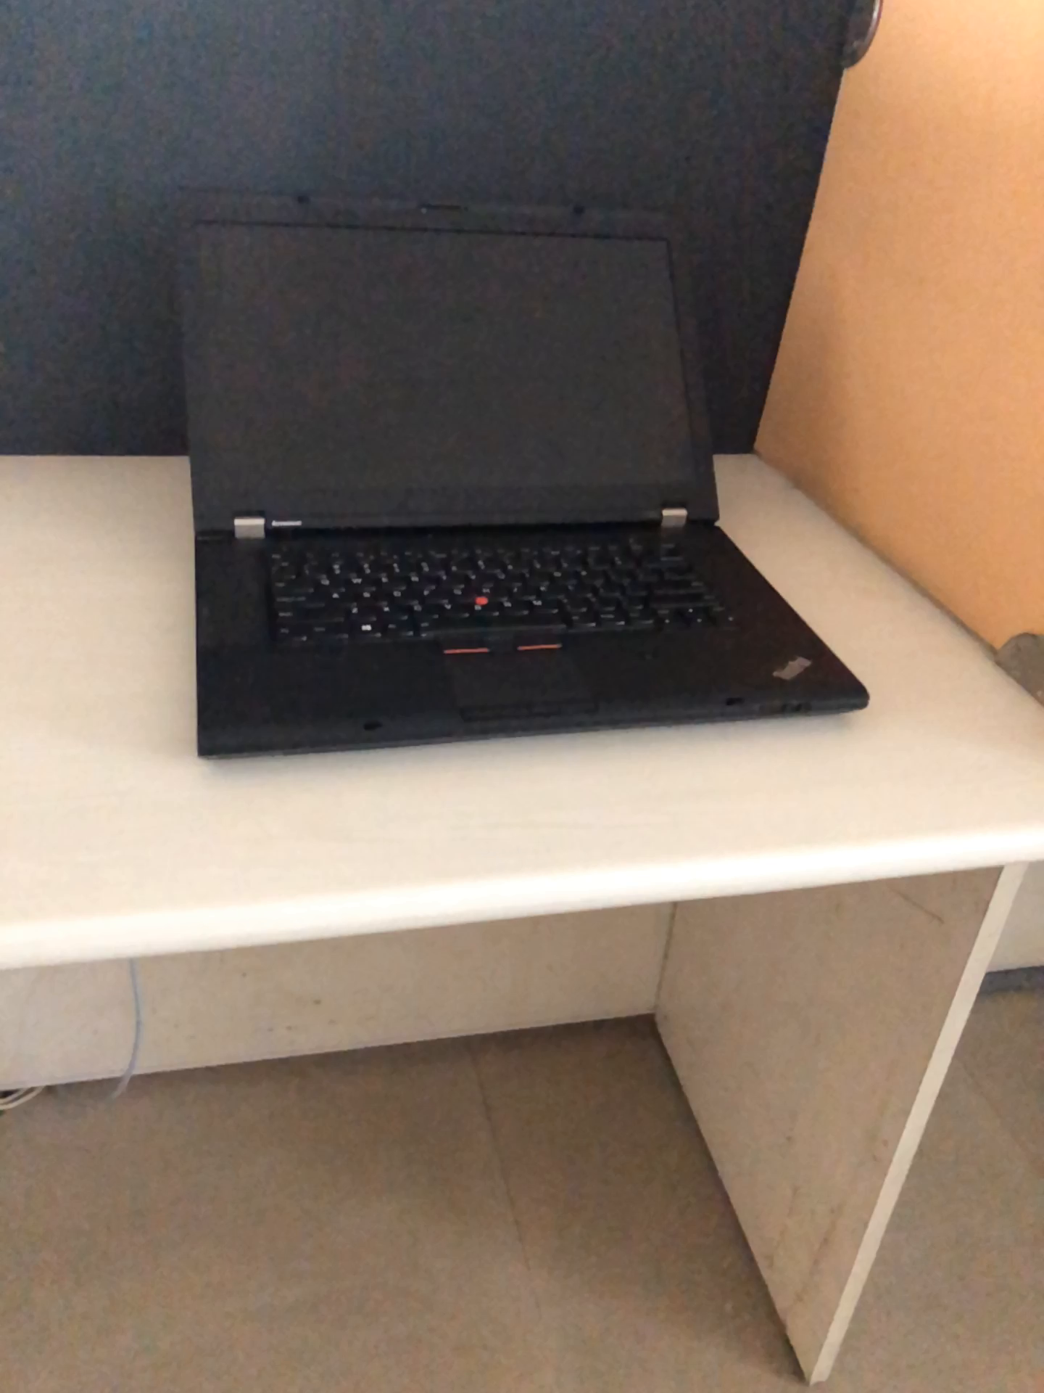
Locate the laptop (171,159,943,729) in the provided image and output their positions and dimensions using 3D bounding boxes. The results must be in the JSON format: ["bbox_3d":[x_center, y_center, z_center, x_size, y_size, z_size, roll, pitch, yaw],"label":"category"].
[{"bbox_3d":[-0.023,-0.178,0.711,0.354,0.185,0.381,-3,35,-15],"label":"laptop"}]
